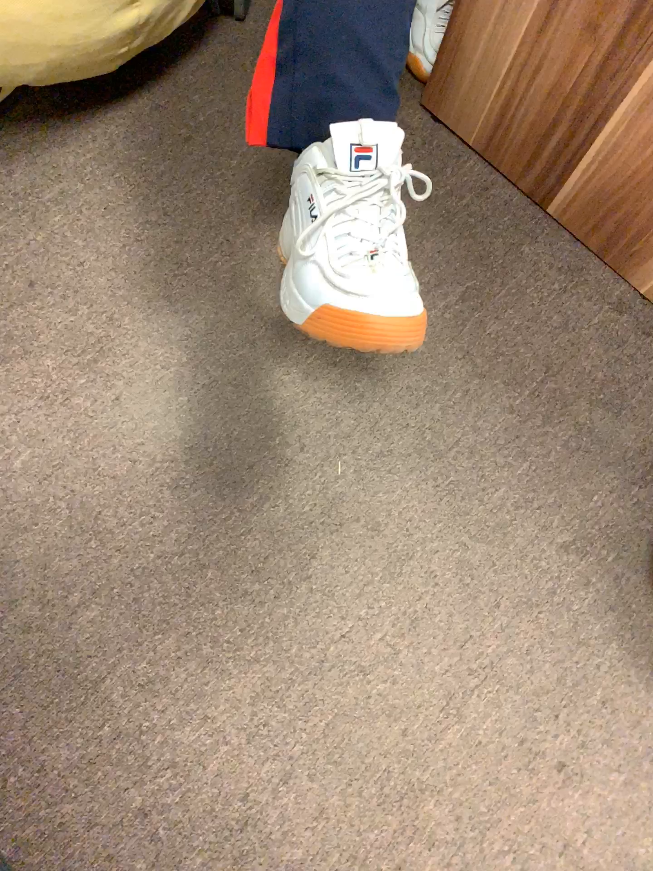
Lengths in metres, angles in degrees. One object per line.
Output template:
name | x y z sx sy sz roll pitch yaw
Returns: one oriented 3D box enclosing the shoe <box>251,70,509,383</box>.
shoe | 0.024 -0.172 0.540 0.130 0.130 0.230 1 48 -16
